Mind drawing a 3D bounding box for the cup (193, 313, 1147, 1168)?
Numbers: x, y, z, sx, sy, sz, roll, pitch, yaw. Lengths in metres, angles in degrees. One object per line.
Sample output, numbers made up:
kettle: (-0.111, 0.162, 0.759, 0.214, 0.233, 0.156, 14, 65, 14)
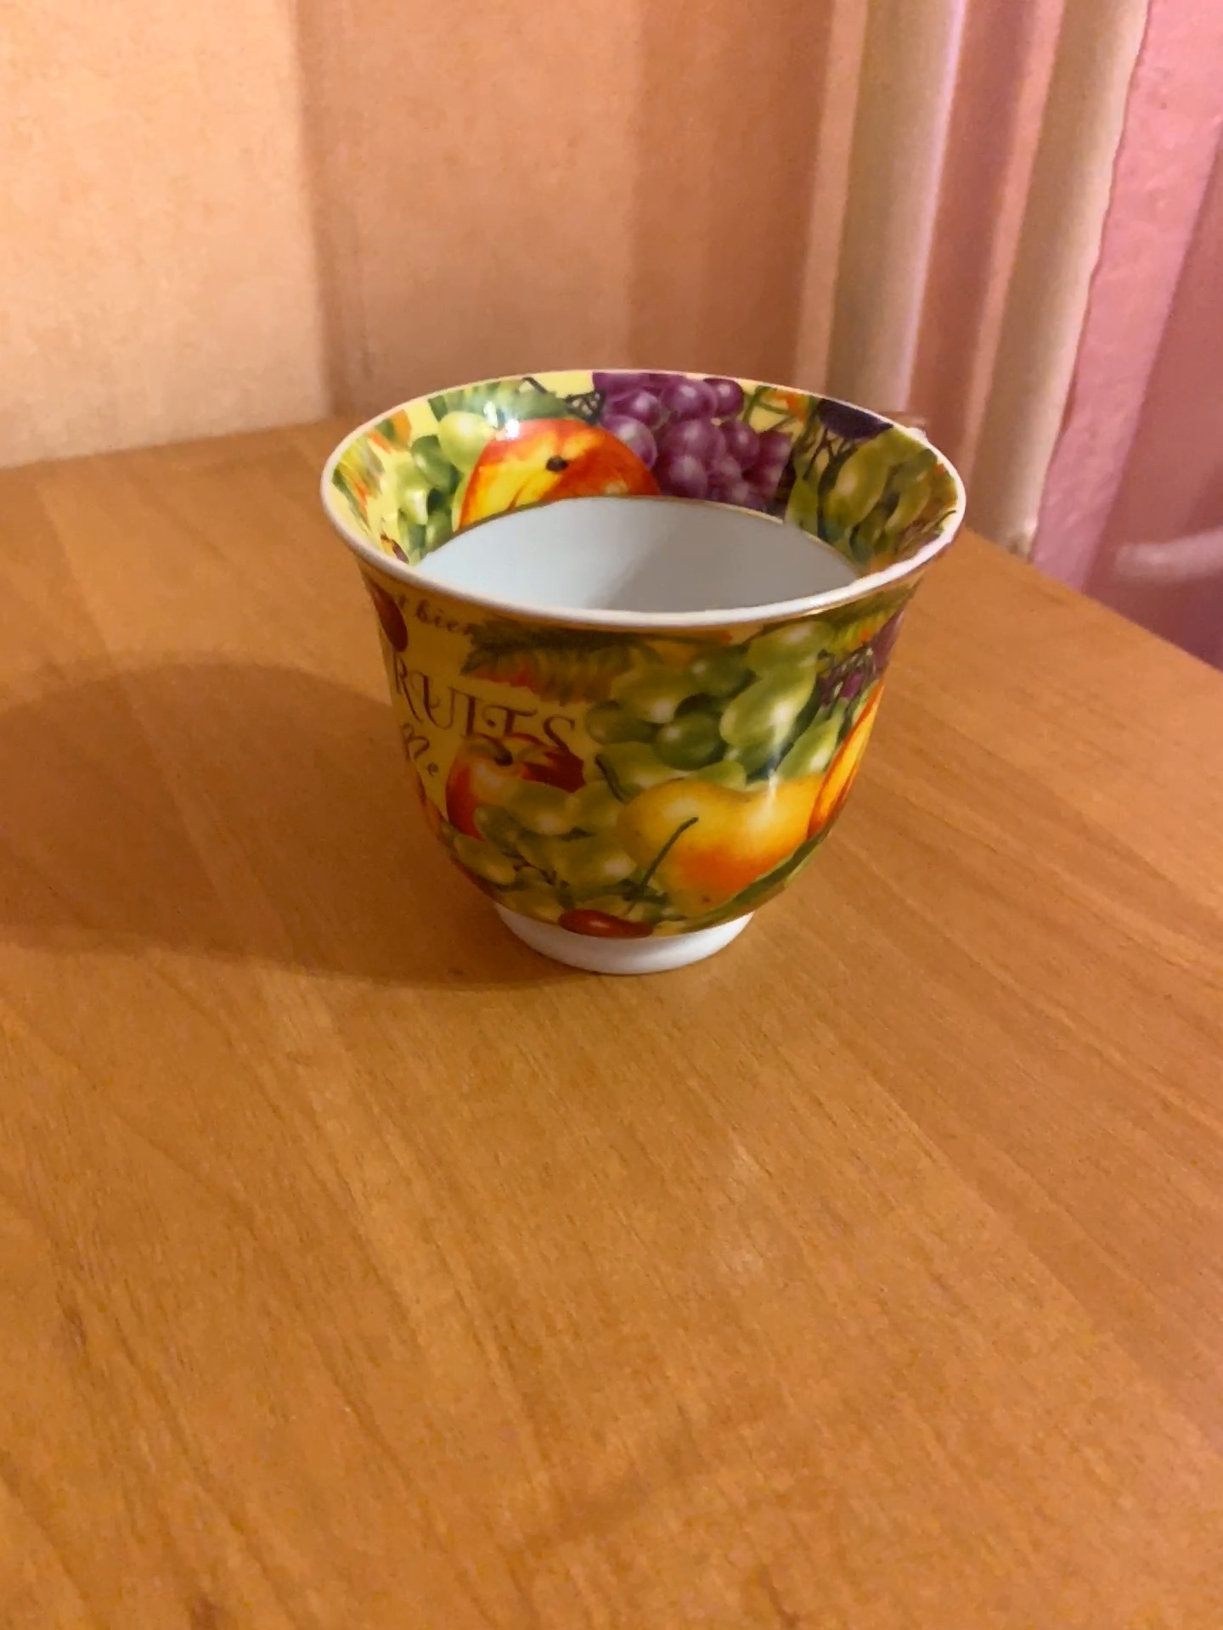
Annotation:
cup: (0.011, -0.023, 0.199, 0.086, 0.071, 0.106, 27, 43, 32)
